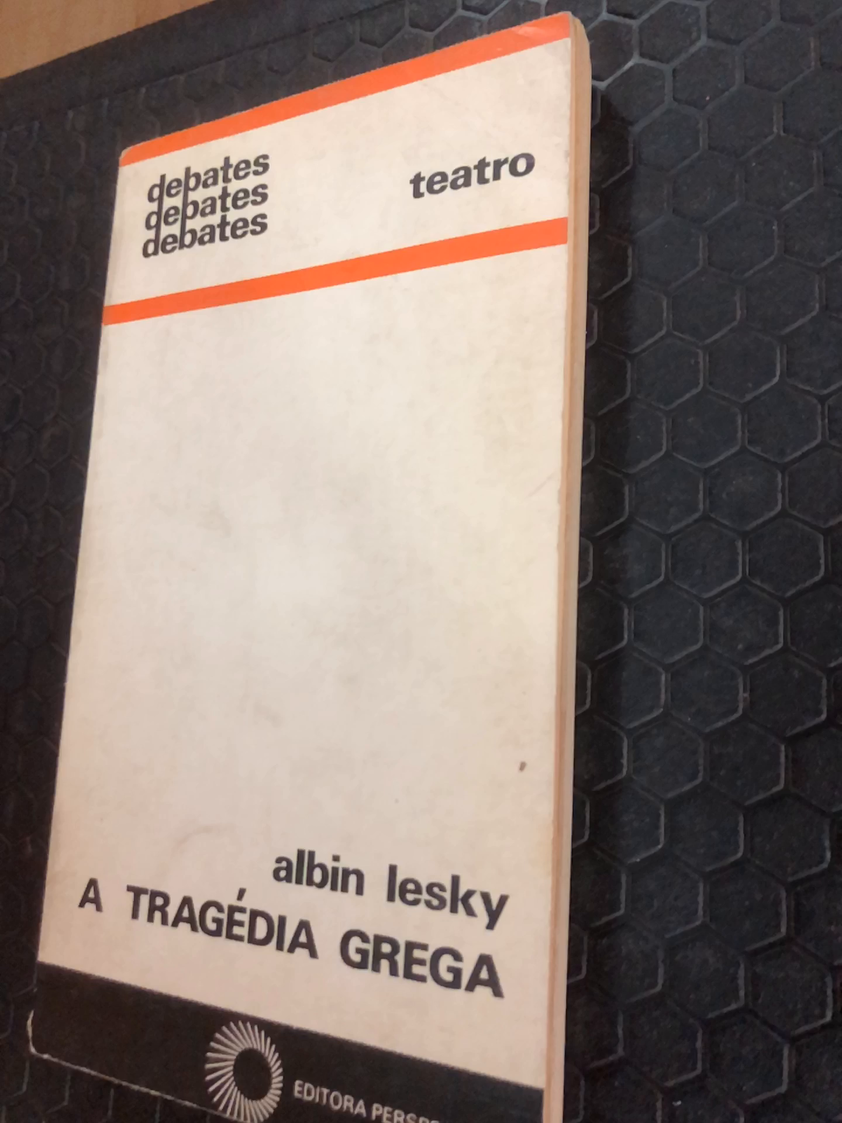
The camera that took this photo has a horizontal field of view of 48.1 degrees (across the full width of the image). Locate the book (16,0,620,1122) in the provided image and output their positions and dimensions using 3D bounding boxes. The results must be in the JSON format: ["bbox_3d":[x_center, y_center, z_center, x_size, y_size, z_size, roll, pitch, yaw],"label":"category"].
[{"bbox_3d":[-0.021,0.000,0.189,0.114,0.020,0.207,-1,81,27],"label":"book"}]
